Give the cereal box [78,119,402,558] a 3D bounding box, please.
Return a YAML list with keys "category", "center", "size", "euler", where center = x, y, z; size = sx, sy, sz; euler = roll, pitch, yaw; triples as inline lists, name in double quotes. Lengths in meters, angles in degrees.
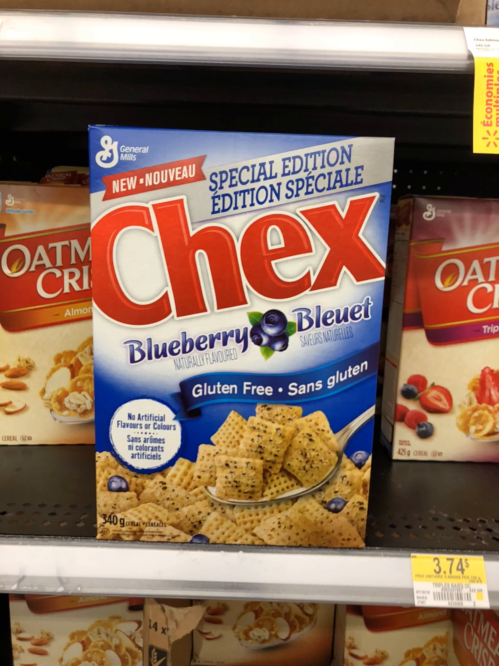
- category: "cereal box"
  center: [-0.011, 0.008, 0.397]
  size: [0.200, 0.289, 0.060]
  euler: [2, 10, 0]
